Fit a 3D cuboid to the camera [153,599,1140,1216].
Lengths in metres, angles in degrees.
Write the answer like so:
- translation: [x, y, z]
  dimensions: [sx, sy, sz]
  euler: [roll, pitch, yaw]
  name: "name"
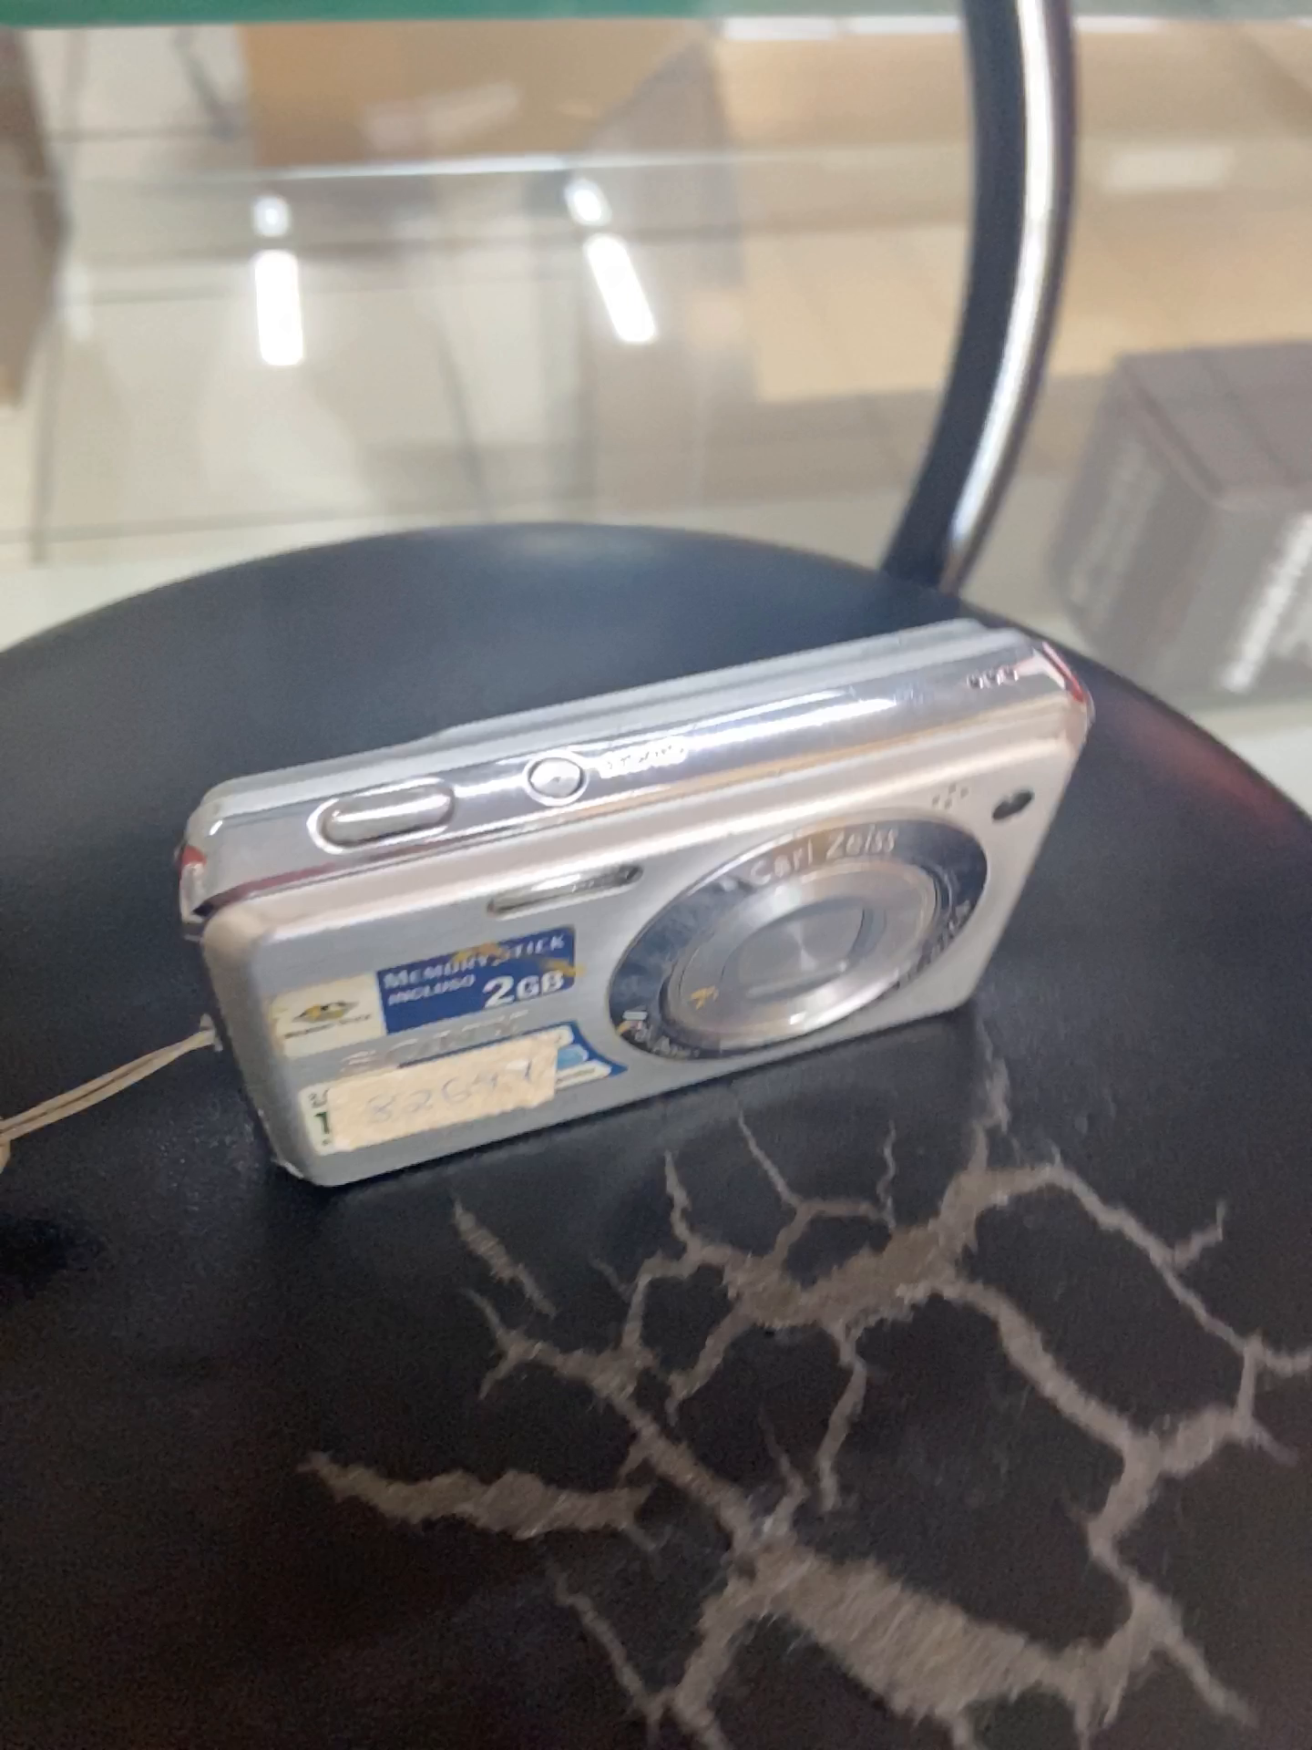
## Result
- translation: [-0.001, 0.003, 0.152]
  dimensions: [0.093, 0.044, 0.026]
  euler: [-13, 54, -15]
  name: "camera"
